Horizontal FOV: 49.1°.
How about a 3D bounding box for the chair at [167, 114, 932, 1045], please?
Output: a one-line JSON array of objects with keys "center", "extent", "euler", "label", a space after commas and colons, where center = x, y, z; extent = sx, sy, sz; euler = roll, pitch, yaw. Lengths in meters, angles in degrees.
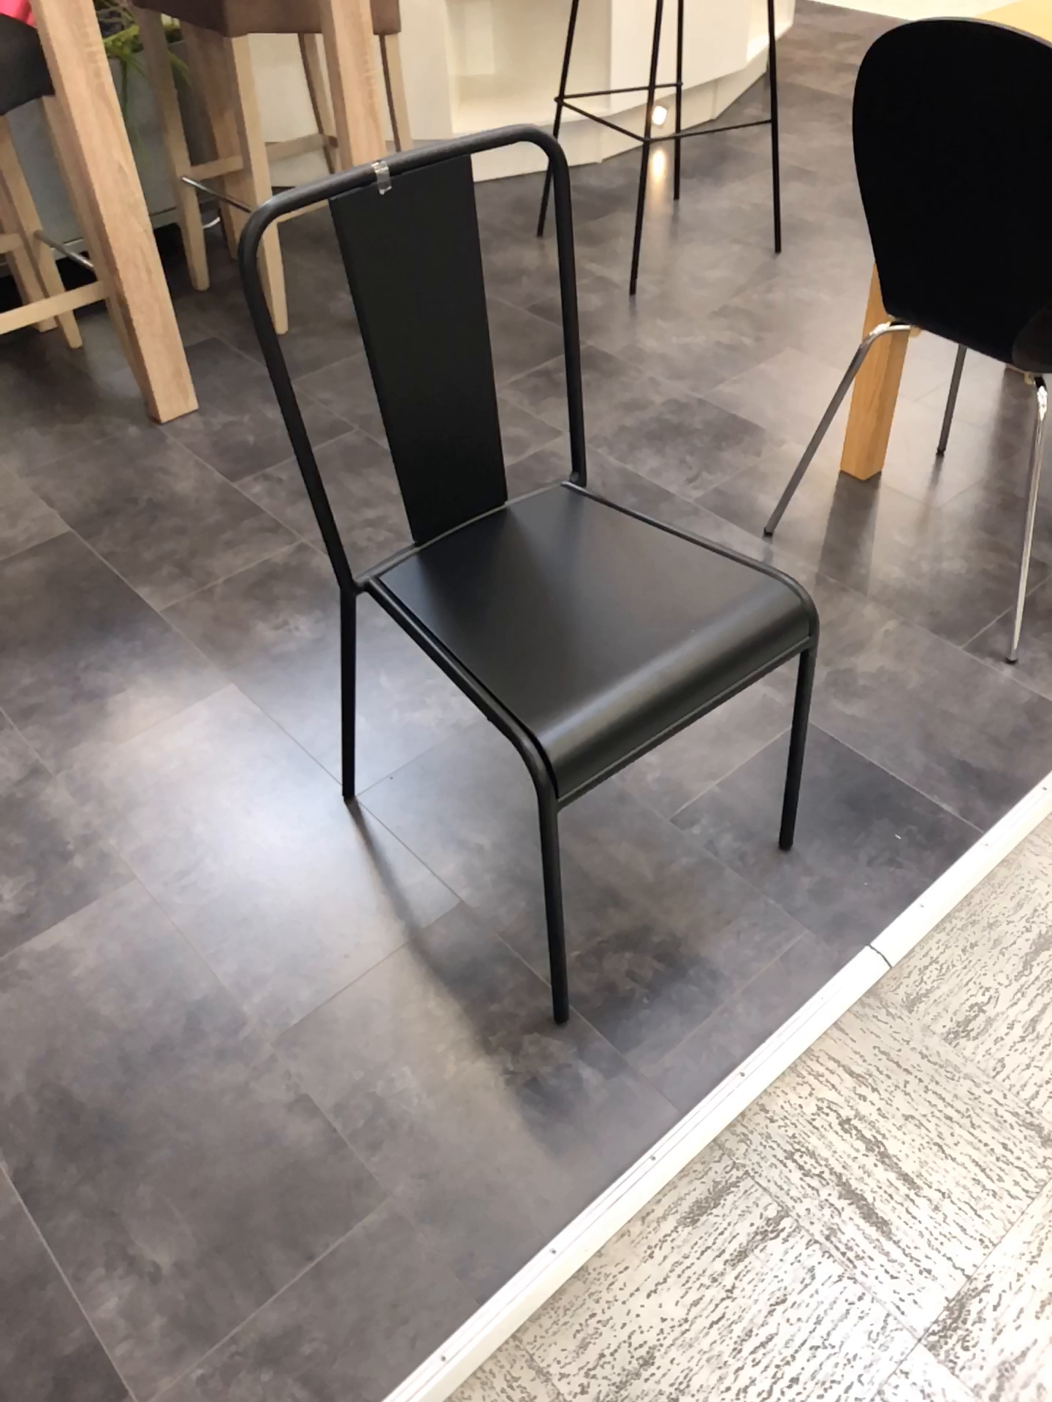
[{"center": [0.017, -0.135, 1.349], "extent": [0.442, 0.816, 0.571], "euler": [-33, 51, -28], "label": "chair"}]
